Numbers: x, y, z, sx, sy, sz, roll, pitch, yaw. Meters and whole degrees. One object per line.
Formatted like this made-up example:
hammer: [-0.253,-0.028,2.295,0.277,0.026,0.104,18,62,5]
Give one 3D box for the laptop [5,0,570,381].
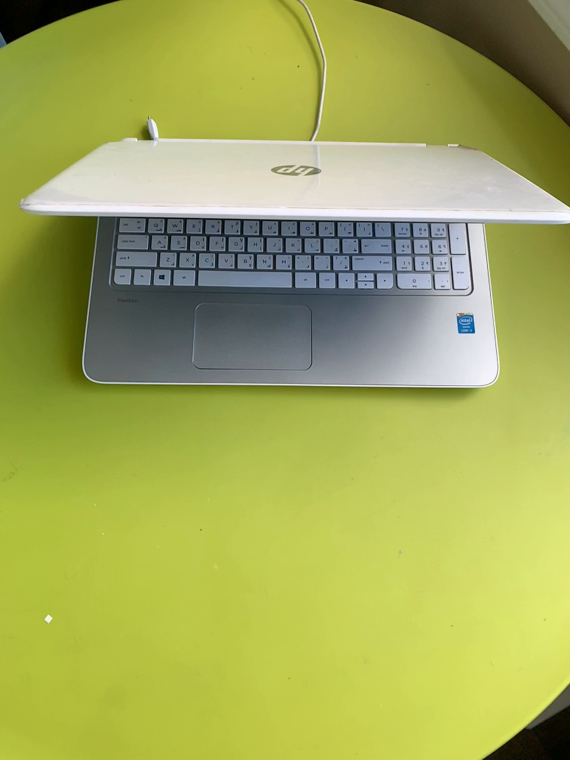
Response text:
laptop: [0.009,-0.141,0.481,0.367,0.163,0.243,1,72,-2]
